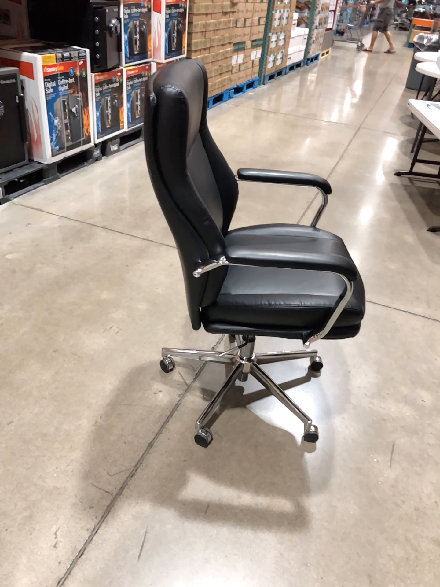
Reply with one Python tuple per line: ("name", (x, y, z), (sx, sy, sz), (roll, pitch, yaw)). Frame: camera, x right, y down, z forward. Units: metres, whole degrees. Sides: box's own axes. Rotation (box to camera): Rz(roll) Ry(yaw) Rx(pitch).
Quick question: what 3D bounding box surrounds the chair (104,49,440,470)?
("chair", (0.104, -0.124, 1.539), (0.700, 1.045, 0.713), (7, 32, 2))
